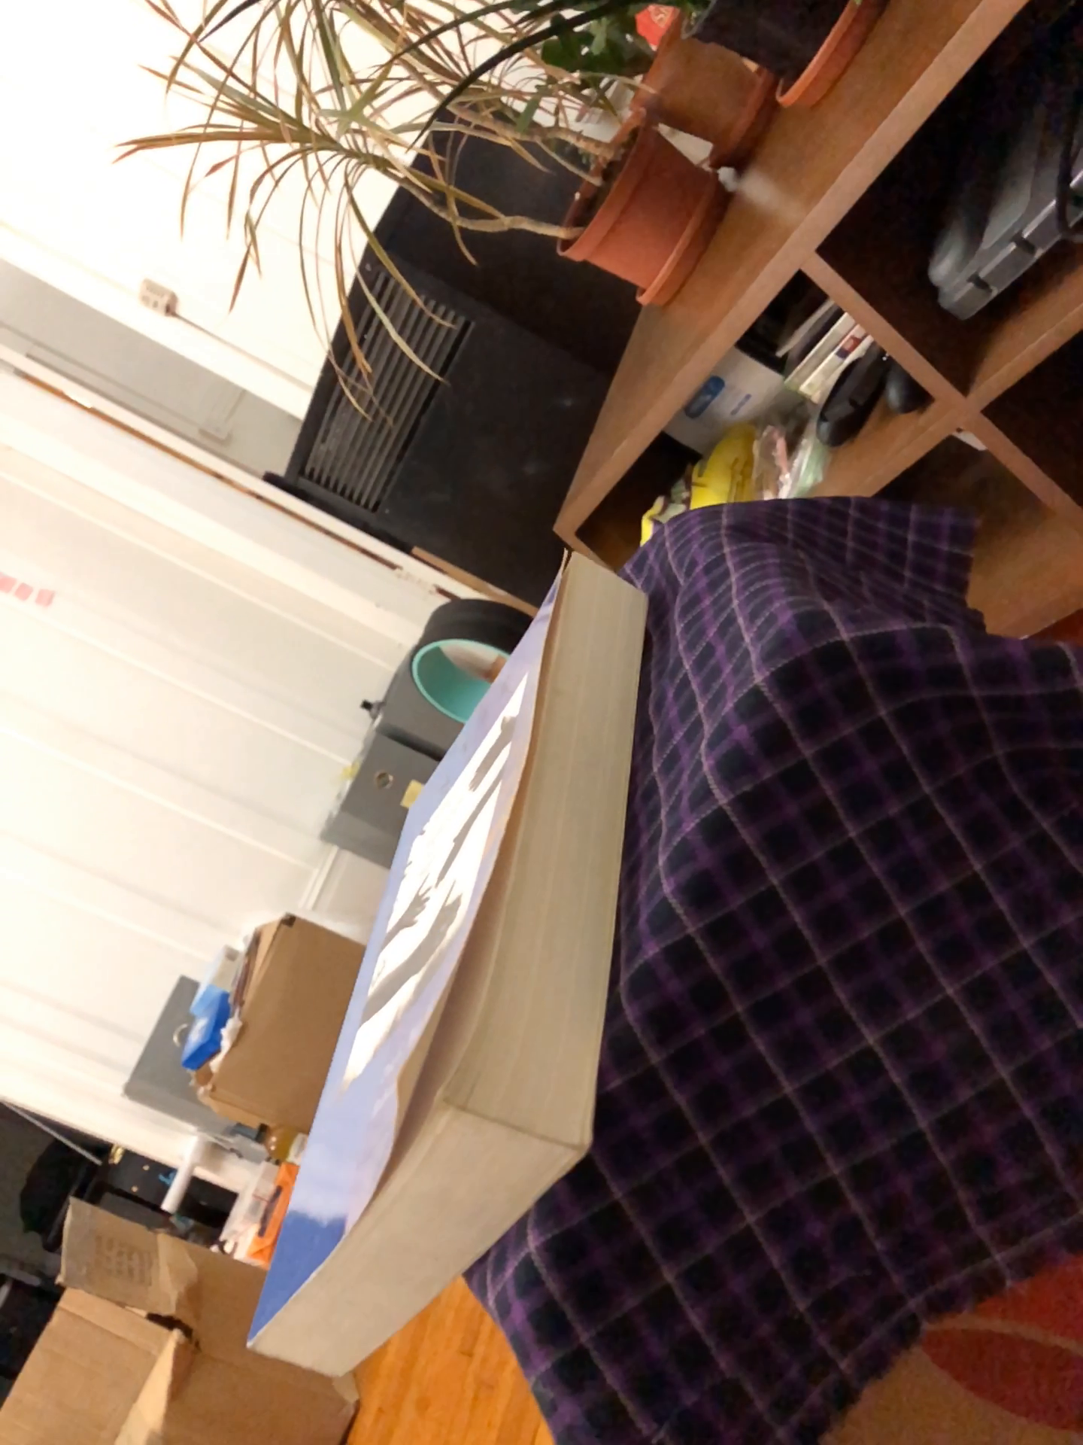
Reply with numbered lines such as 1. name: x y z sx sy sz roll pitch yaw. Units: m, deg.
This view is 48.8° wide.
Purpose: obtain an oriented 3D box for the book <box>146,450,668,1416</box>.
1. book: -0.036 0.056 0.397 0.200 0.040 0.261 -54 15 38
